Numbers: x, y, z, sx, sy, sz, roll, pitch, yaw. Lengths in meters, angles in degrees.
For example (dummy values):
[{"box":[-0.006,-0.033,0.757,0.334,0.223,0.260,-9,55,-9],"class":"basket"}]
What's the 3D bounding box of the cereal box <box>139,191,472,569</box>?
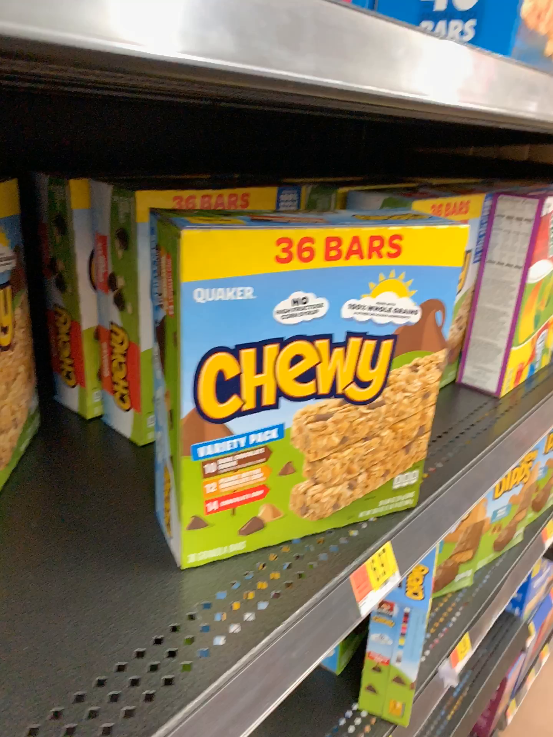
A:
[{"box":[0.014,0.001,0.400,0.200,0.229,0.070,-7,24,-25],"class":"cereal box"}]
